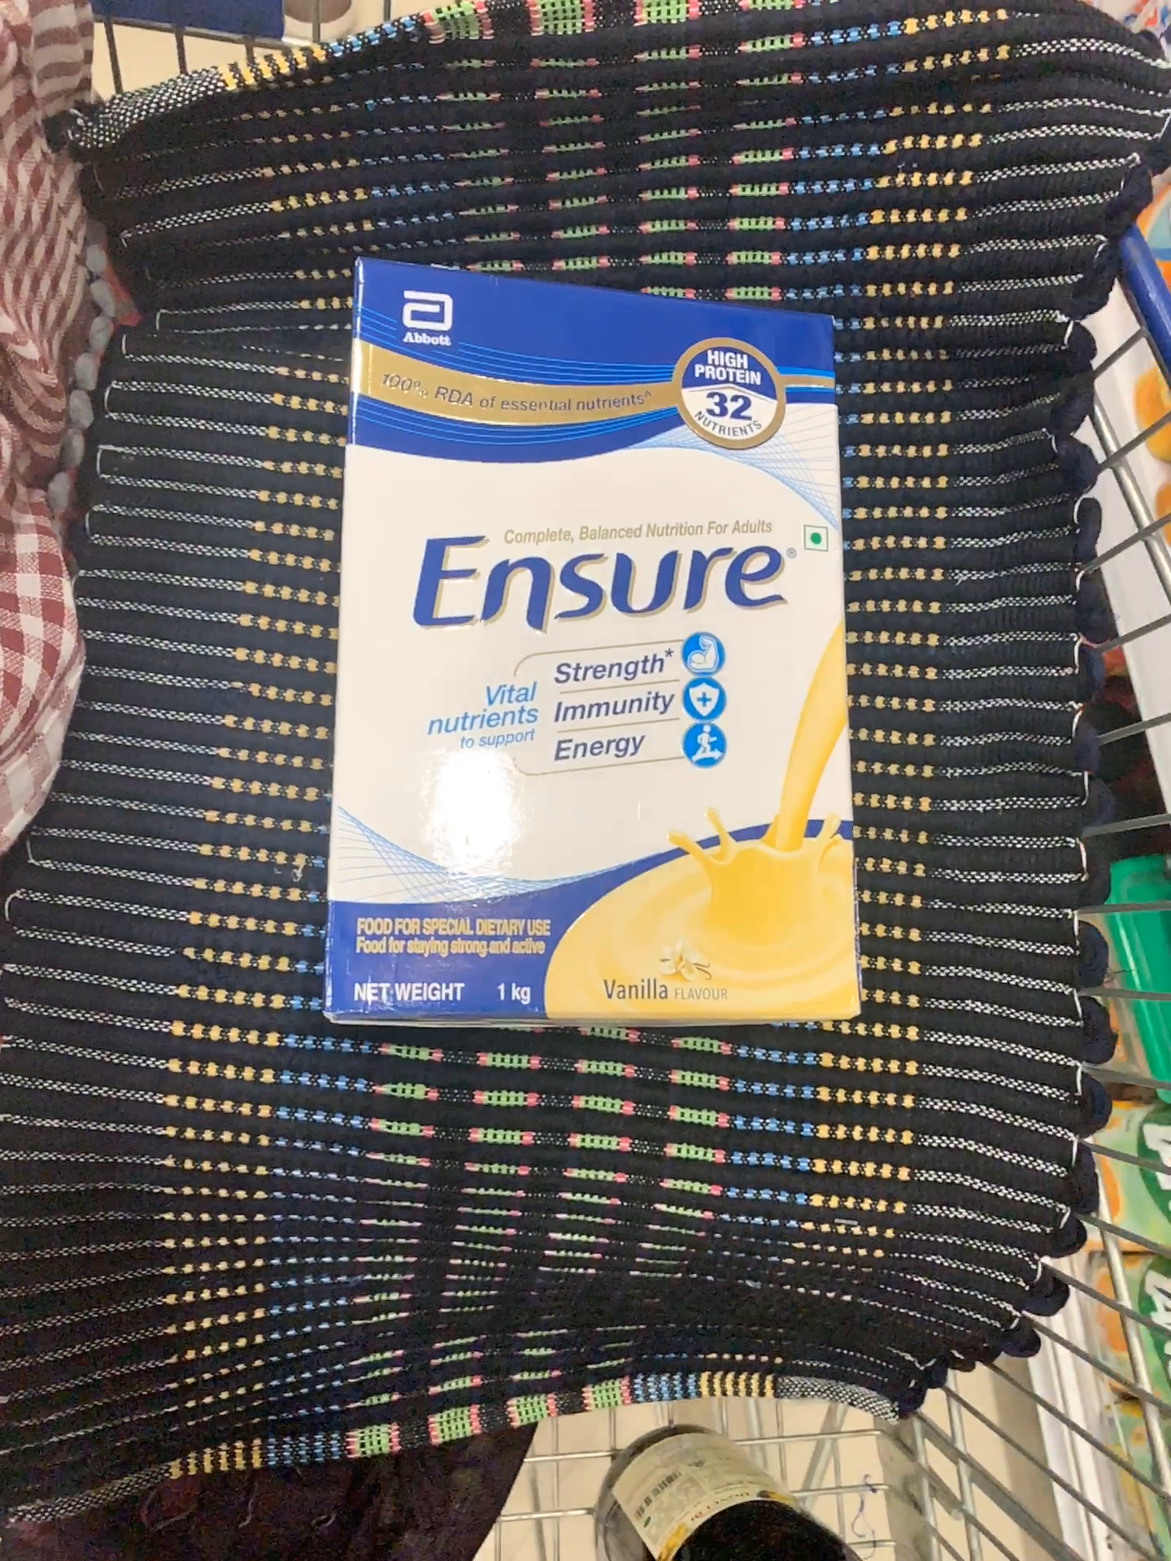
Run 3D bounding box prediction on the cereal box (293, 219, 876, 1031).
[{"bbox_3d":[-0.006,-0.036,0.370,0.150,0.090,0.220,3,77,-11],"label":"cereal box"}]
